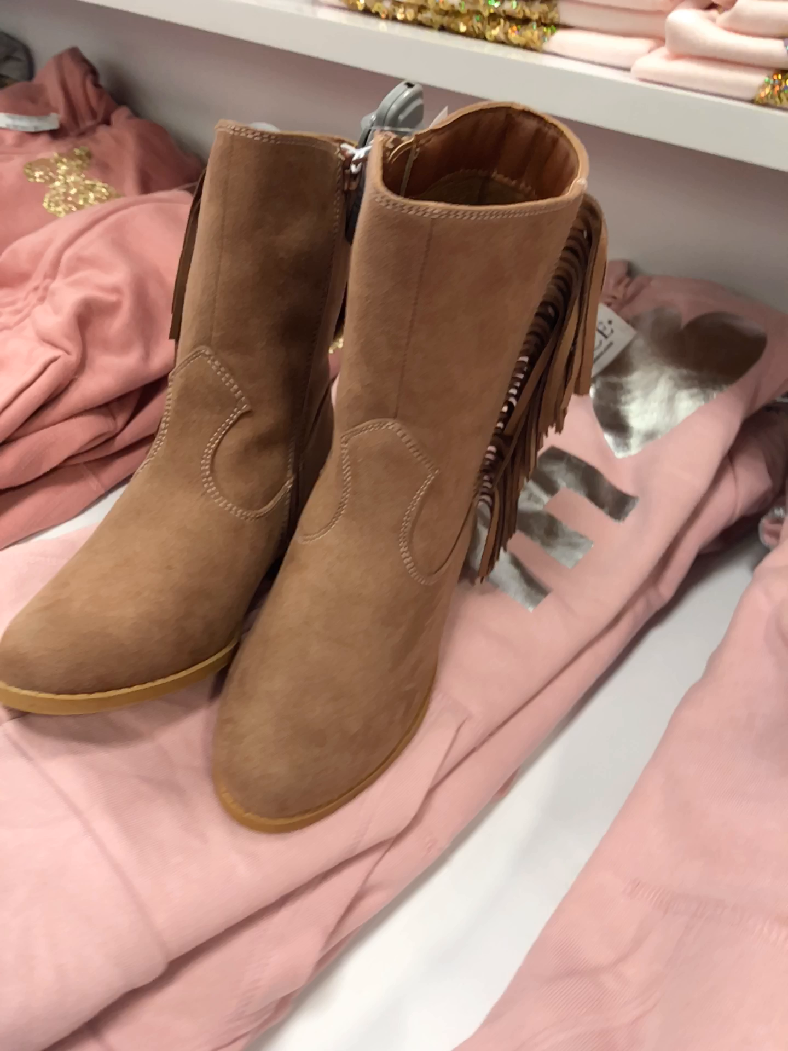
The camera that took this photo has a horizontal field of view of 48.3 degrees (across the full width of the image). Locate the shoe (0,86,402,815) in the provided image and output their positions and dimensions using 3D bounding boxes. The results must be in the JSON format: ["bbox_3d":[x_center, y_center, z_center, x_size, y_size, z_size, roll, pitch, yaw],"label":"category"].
[{"bbox_3d":[-0.082,-0.046,0.338,0.092,0.199,0.201,14,33,14],"label":"shoe"}]

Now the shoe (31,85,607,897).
[{"bbox_3d":[-0.004,-0.026,0.321,0.092,0.199,0.211,14,39,14],"label":"shoe"}]
